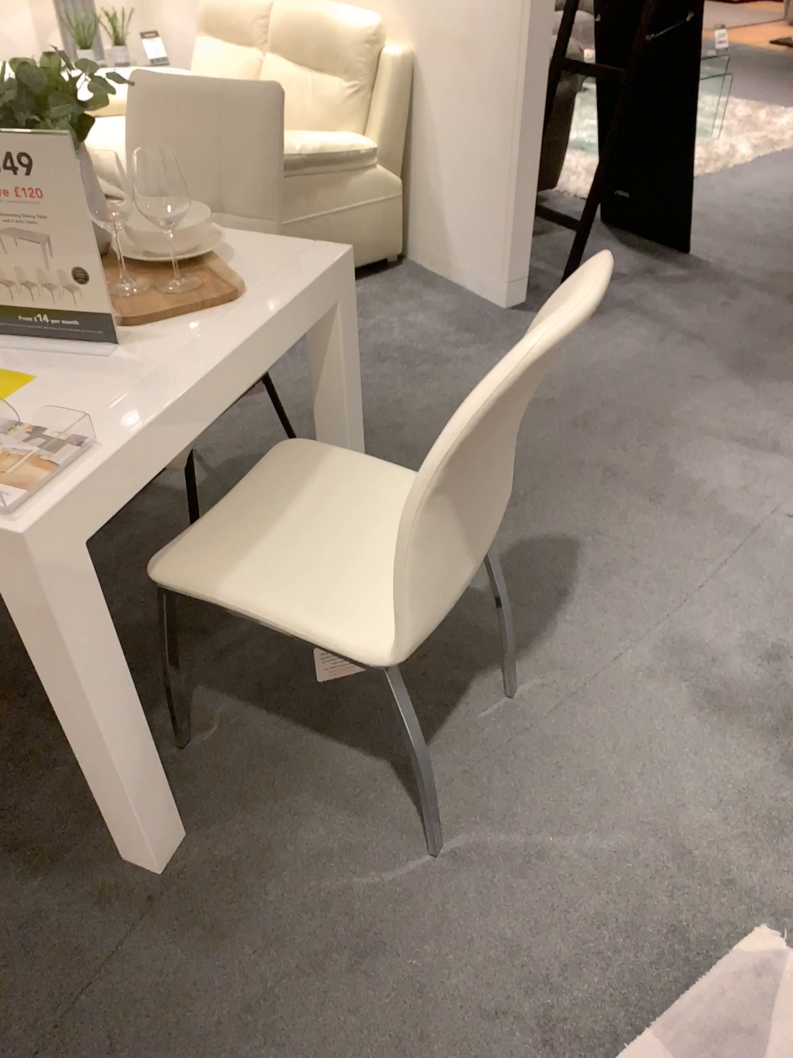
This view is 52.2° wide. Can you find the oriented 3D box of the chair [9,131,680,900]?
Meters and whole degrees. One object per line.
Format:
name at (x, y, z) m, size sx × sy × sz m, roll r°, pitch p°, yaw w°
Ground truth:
chair at (-0.038, -0.011, 1.265) m, size 0.645 × 0.954 × 0.483 m, roll 18°, pitch 43°, yaw 21°
